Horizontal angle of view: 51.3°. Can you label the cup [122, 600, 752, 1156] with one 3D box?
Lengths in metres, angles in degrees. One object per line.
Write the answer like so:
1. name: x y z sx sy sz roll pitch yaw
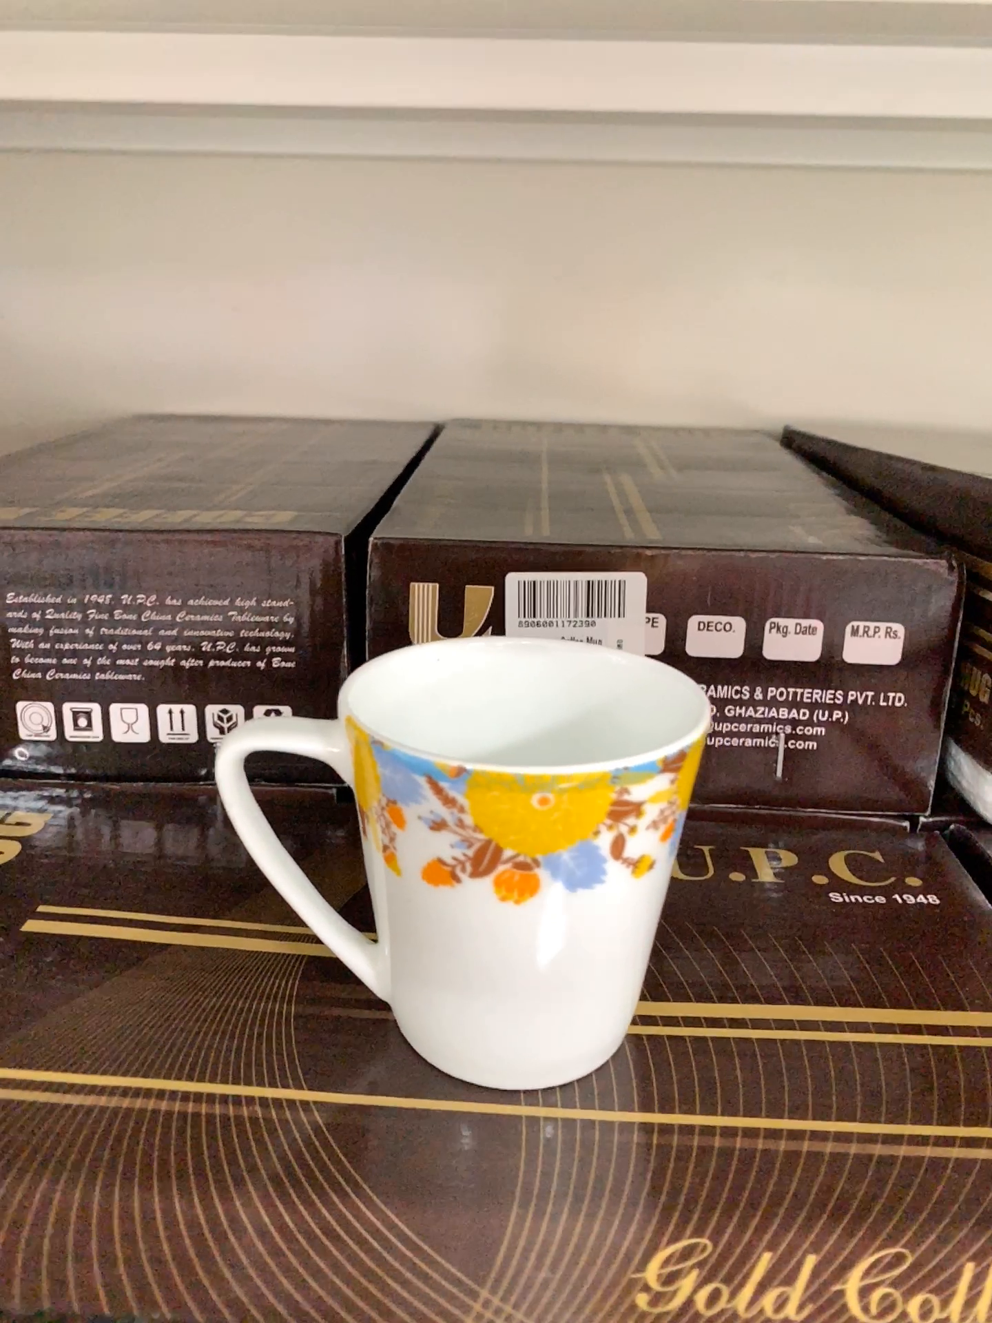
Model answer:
1. cup: -0.008 0.034 0.191 0.090 0.070 0.070 2 19 2
